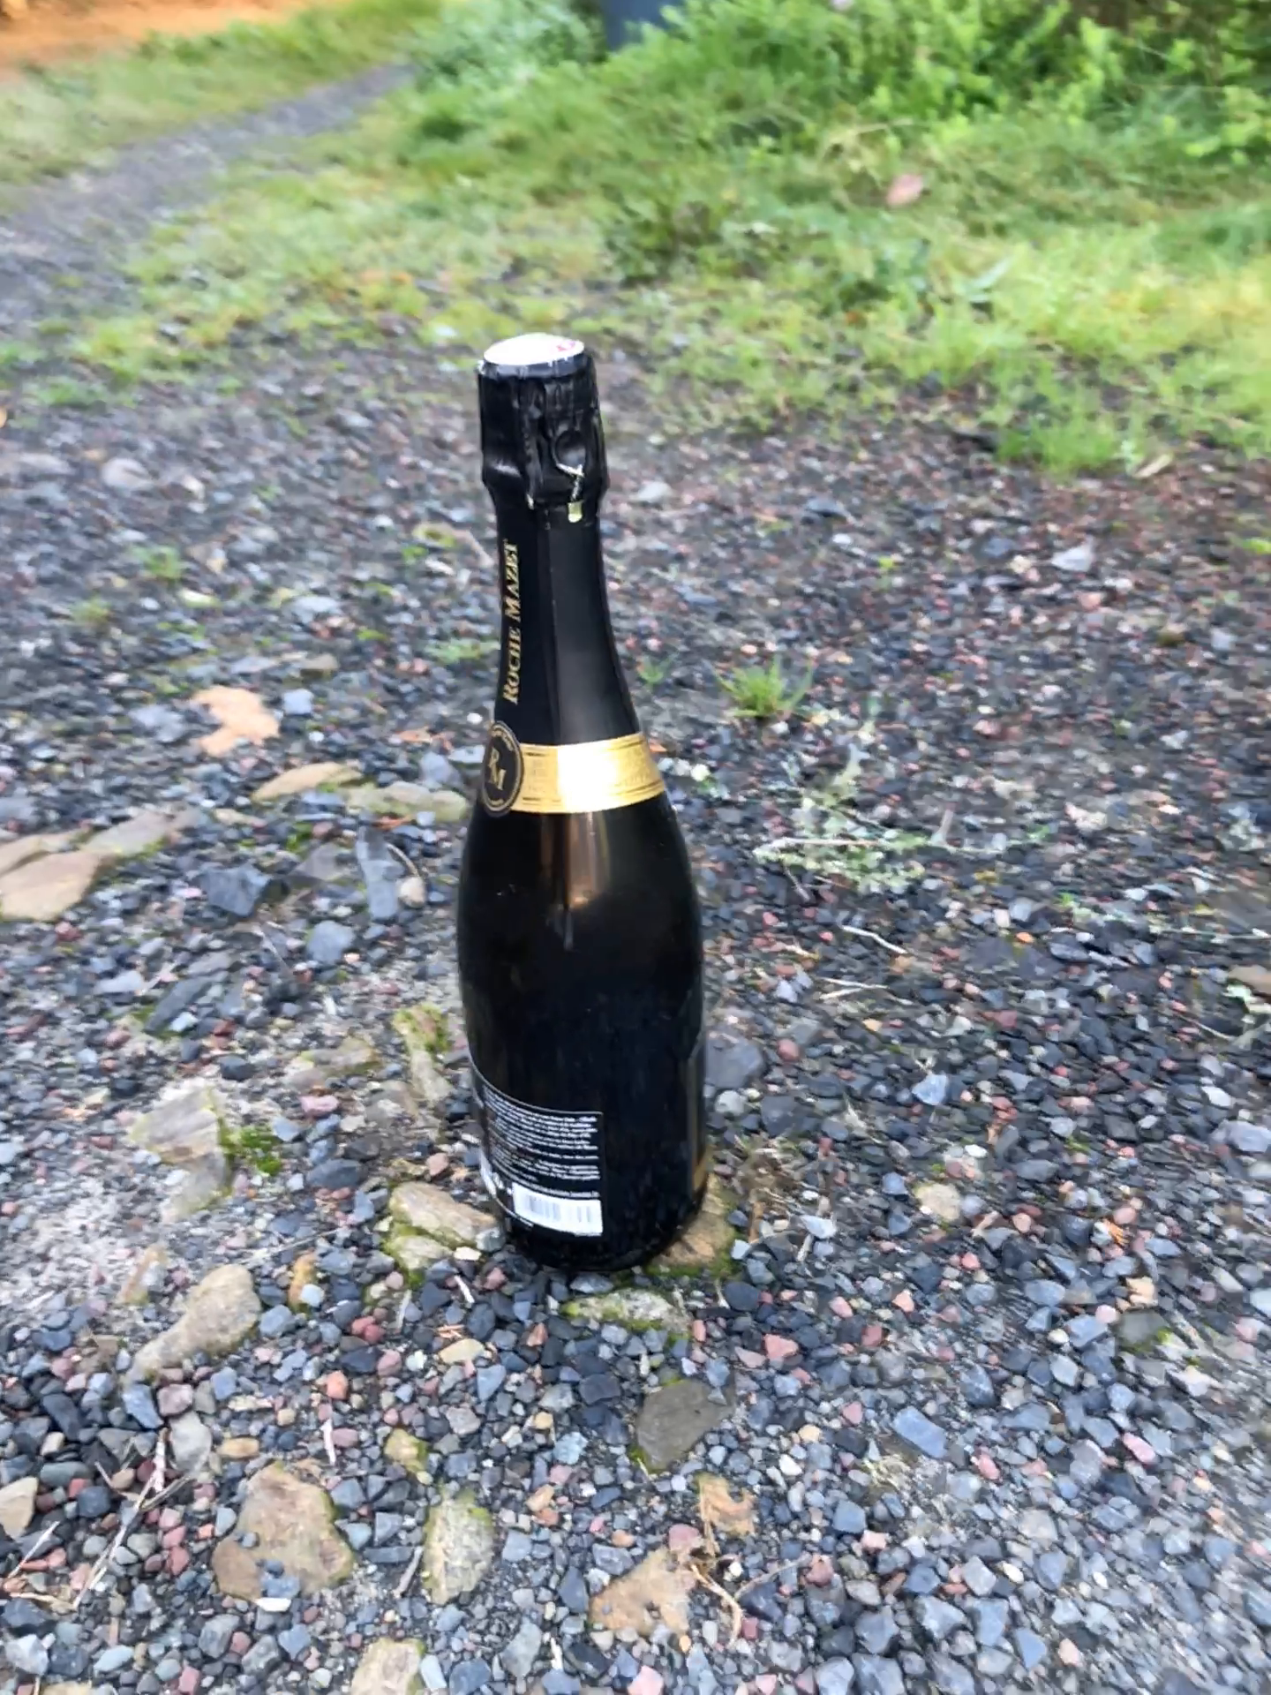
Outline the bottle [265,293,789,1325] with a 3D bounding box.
[{"bbox_3d":[-0.023,-0.006,0.449,0.100,0.298,0.100,-2,31,1],"label":"bottle"}]
